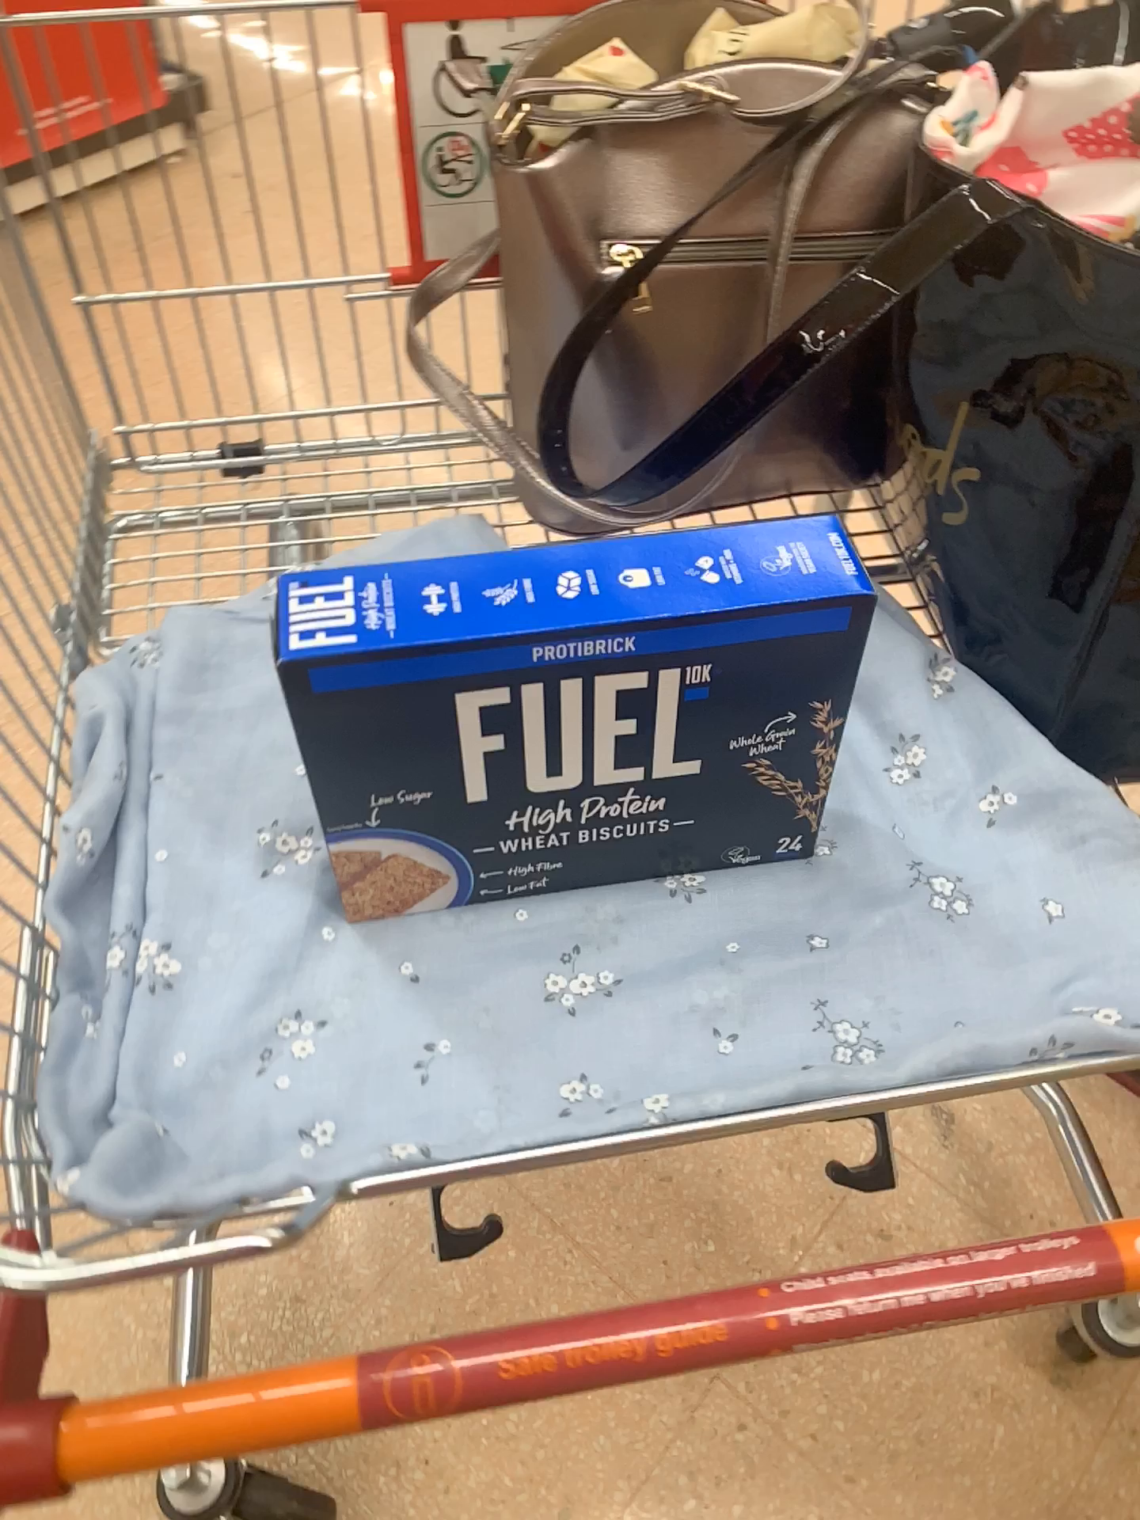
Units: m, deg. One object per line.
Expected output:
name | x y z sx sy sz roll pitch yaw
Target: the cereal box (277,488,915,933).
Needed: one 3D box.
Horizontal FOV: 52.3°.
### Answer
cereal box | 0.007 -0.014 0.548 0.250 0.208 0.060 -7 52 -7
